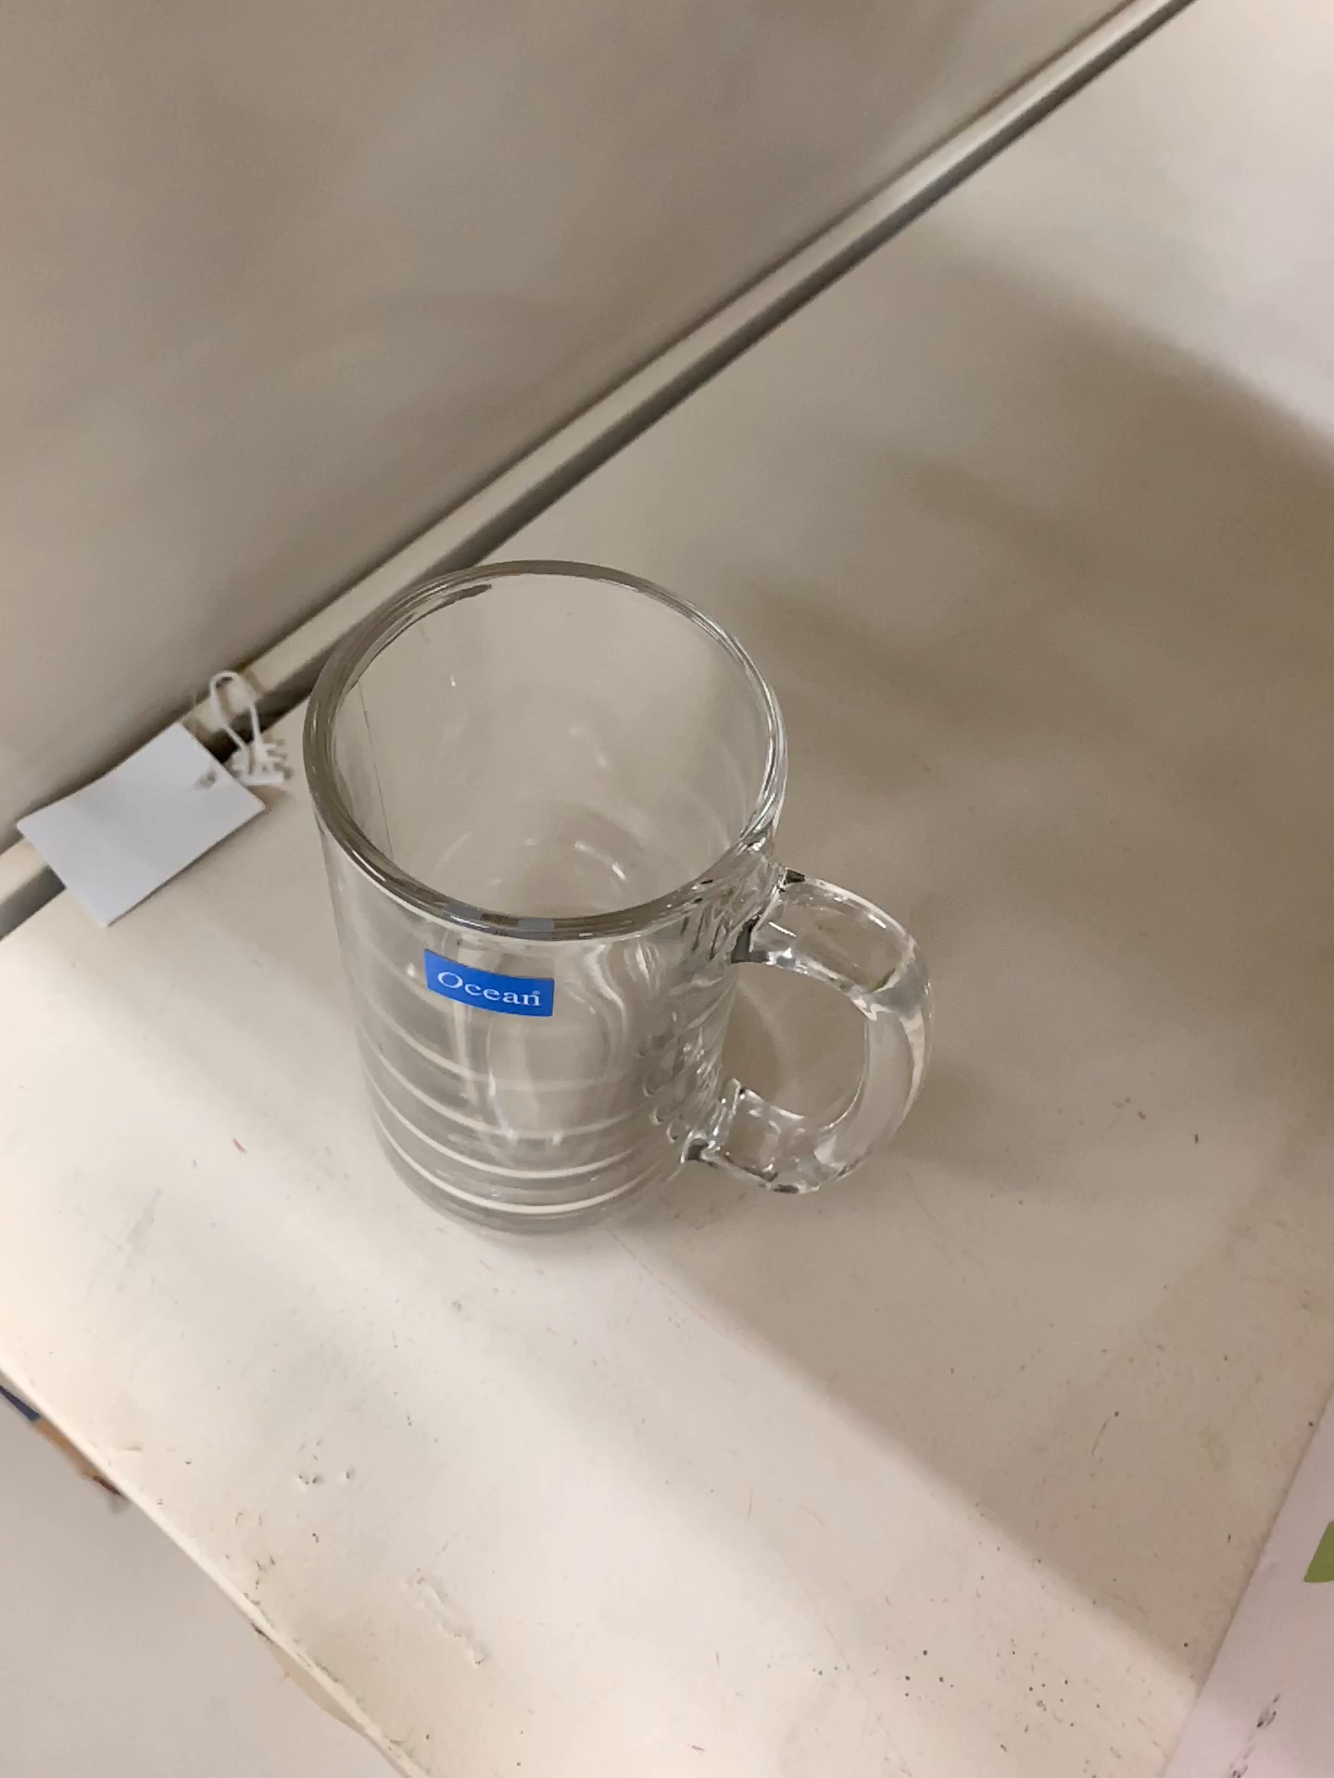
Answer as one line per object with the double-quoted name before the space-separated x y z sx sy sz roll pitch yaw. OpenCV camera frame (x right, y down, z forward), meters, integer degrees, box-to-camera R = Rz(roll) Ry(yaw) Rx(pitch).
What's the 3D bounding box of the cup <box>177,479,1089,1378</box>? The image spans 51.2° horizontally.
"cup" -0.005 0.015 0.254 0.111 0.127 0.076 20 58 8
